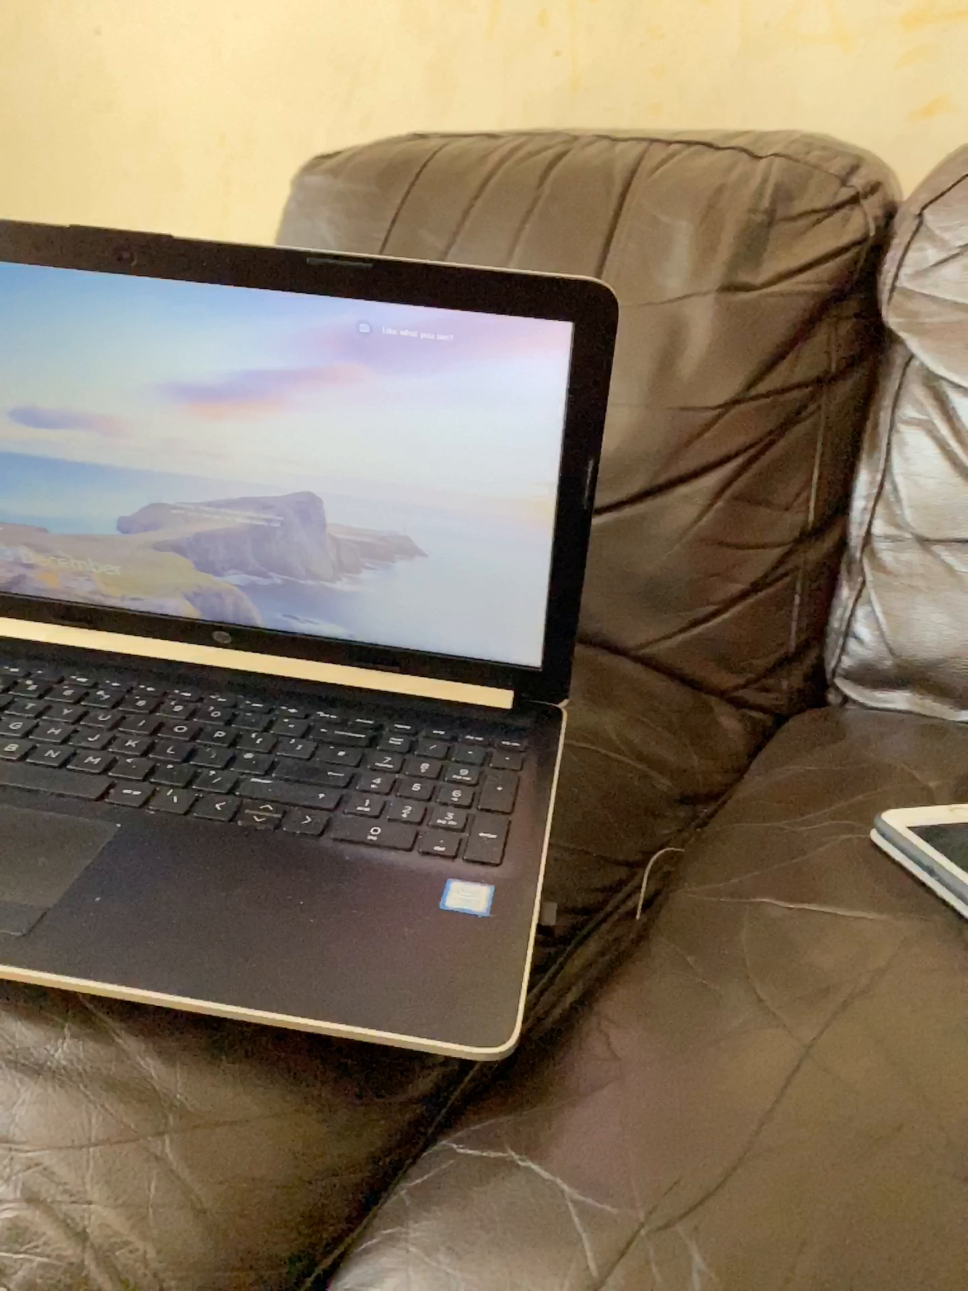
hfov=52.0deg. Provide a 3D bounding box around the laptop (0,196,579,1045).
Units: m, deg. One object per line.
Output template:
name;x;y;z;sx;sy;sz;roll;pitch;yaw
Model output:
laptop;-0.158;-0.045;0.400;0.371;0.212;0.238;7;22;7
